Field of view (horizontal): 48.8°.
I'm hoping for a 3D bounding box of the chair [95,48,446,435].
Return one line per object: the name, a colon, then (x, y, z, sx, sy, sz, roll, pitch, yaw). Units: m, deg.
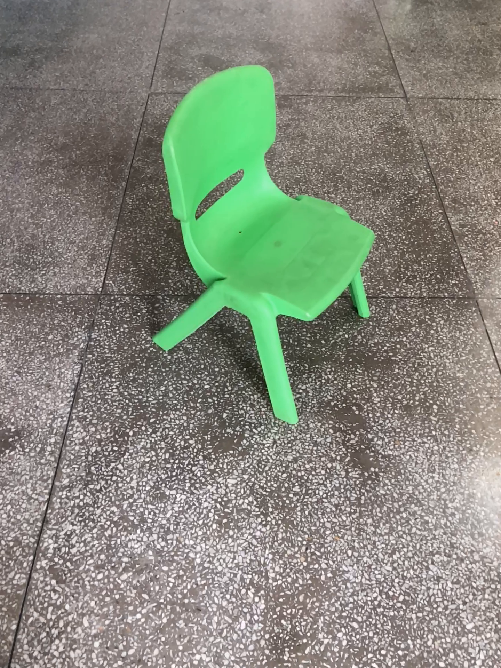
chair: (0.034, -0.162, 0.998, 0.390, 0.459, 0.371, 26, 54, 18)
